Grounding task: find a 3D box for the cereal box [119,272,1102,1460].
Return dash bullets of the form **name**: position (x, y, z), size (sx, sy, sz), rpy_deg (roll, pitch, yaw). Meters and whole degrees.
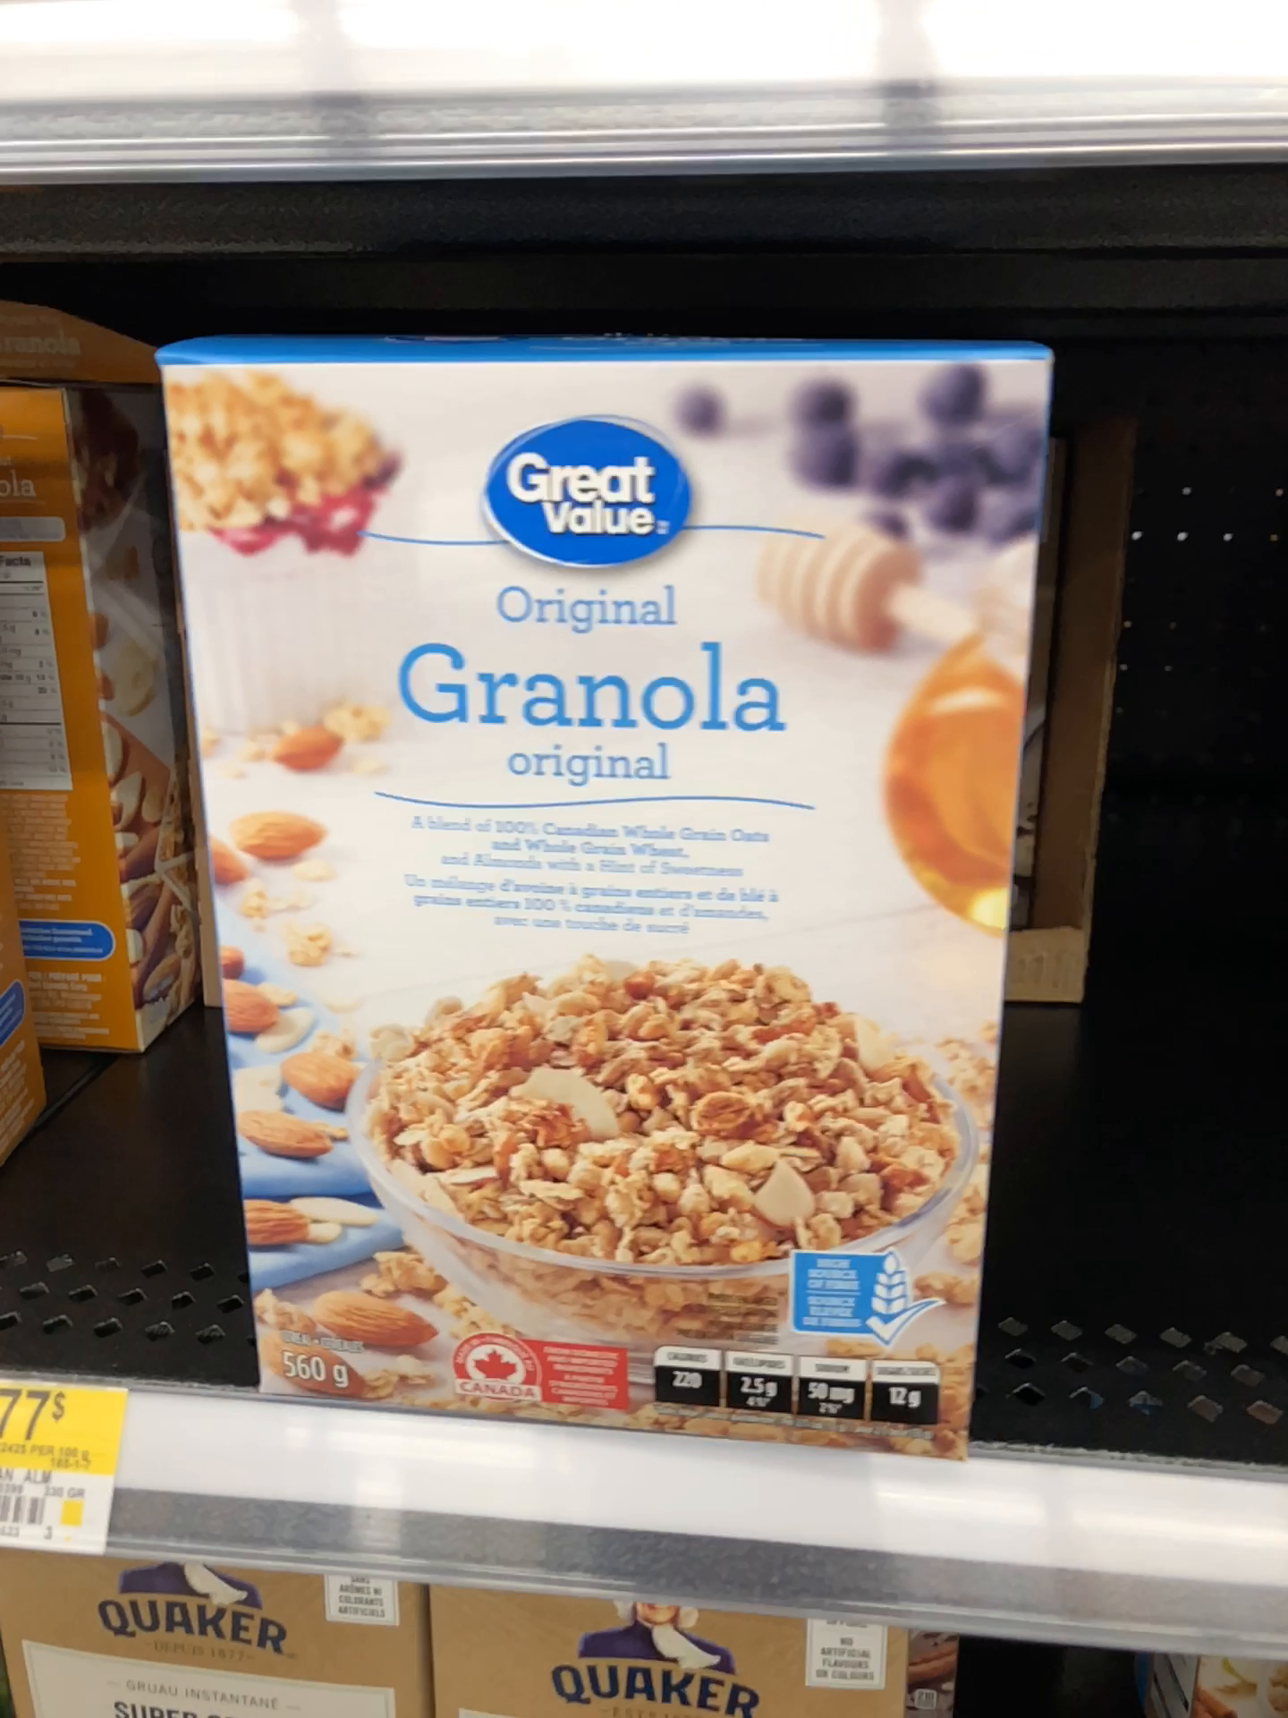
- **cereal box**: position (-0.004, 0.001, 0.295), size (0.160, 0.219, 0.070), rpy_deg (2, 17, 7)
